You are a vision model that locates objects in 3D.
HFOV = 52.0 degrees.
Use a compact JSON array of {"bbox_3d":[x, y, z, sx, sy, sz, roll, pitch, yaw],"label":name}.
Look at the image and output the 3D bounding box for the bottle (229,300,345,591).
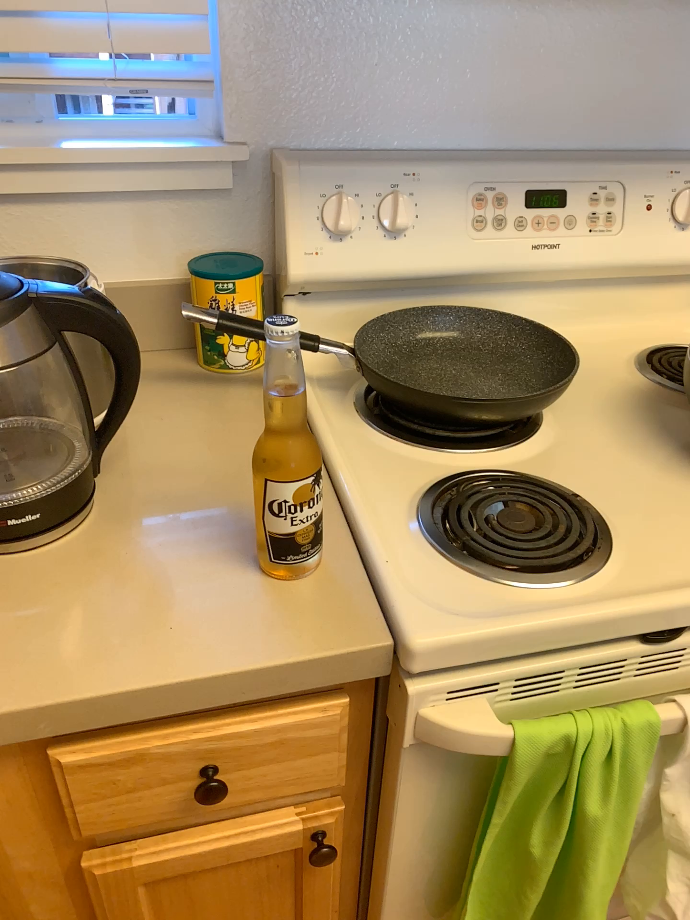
[{"bbox_3d":[-0.047,-0.008,0.581,0.059,0.226,0.064,1,32,-1],"label":"bottle"}]
